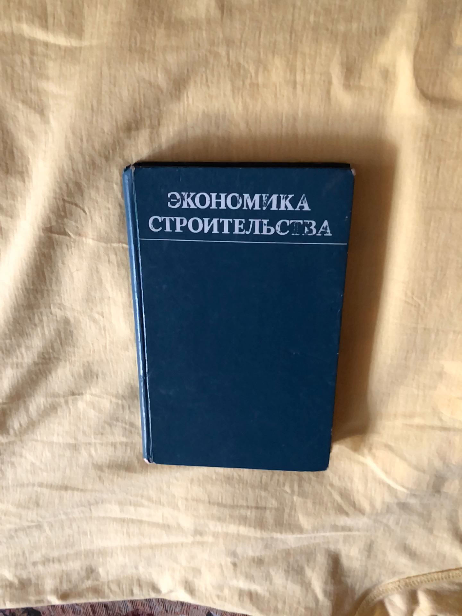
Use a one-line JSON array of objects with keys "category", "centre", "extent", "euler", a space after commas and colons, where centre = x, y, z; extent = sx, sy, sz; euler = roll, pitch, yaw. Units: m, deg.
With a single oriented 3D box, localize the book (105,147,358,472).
[{"category": "book", "centre": [0.000, 0.008, 0.314], "extent": [0.130, 0.030, 0.201], "euler": [1, 112, 3]}]
